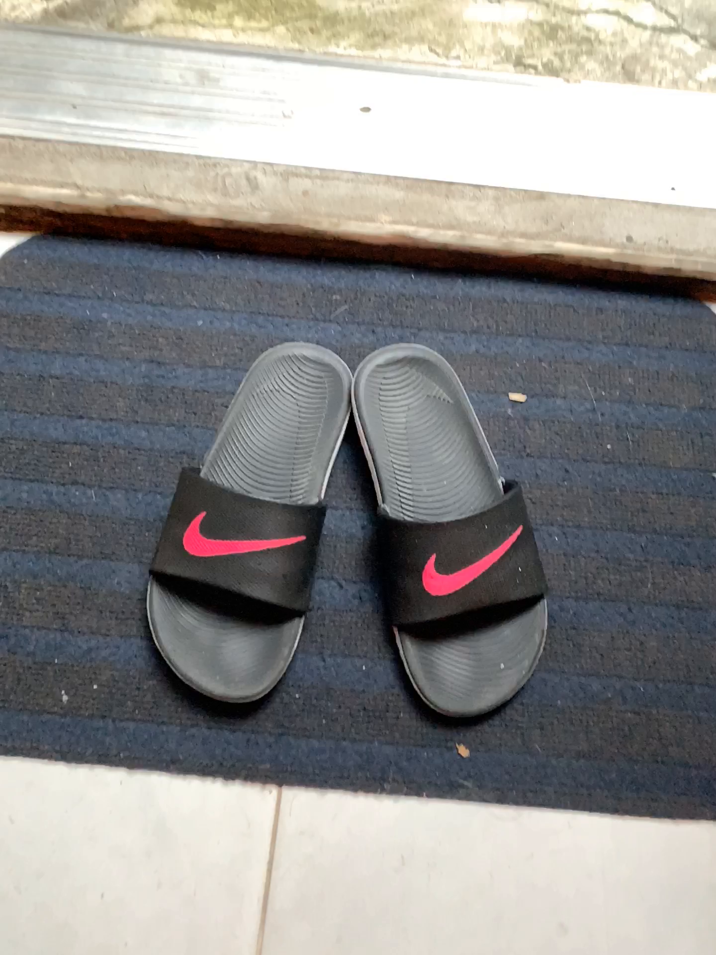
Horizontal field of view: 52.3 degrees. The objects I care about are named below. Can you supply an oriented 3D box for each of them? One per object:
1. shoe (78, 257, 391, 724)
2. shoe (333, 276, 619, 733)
[{"bbox_3d":[-0.060,0.003,0.434,0.099,0.078,0.251,14,68,3],"label":"shoe"},{"bbox_3d":[0.056,0.011,0.437,0.099,0.078,0.251,-9,69,-7],"label":"shoe"}]
